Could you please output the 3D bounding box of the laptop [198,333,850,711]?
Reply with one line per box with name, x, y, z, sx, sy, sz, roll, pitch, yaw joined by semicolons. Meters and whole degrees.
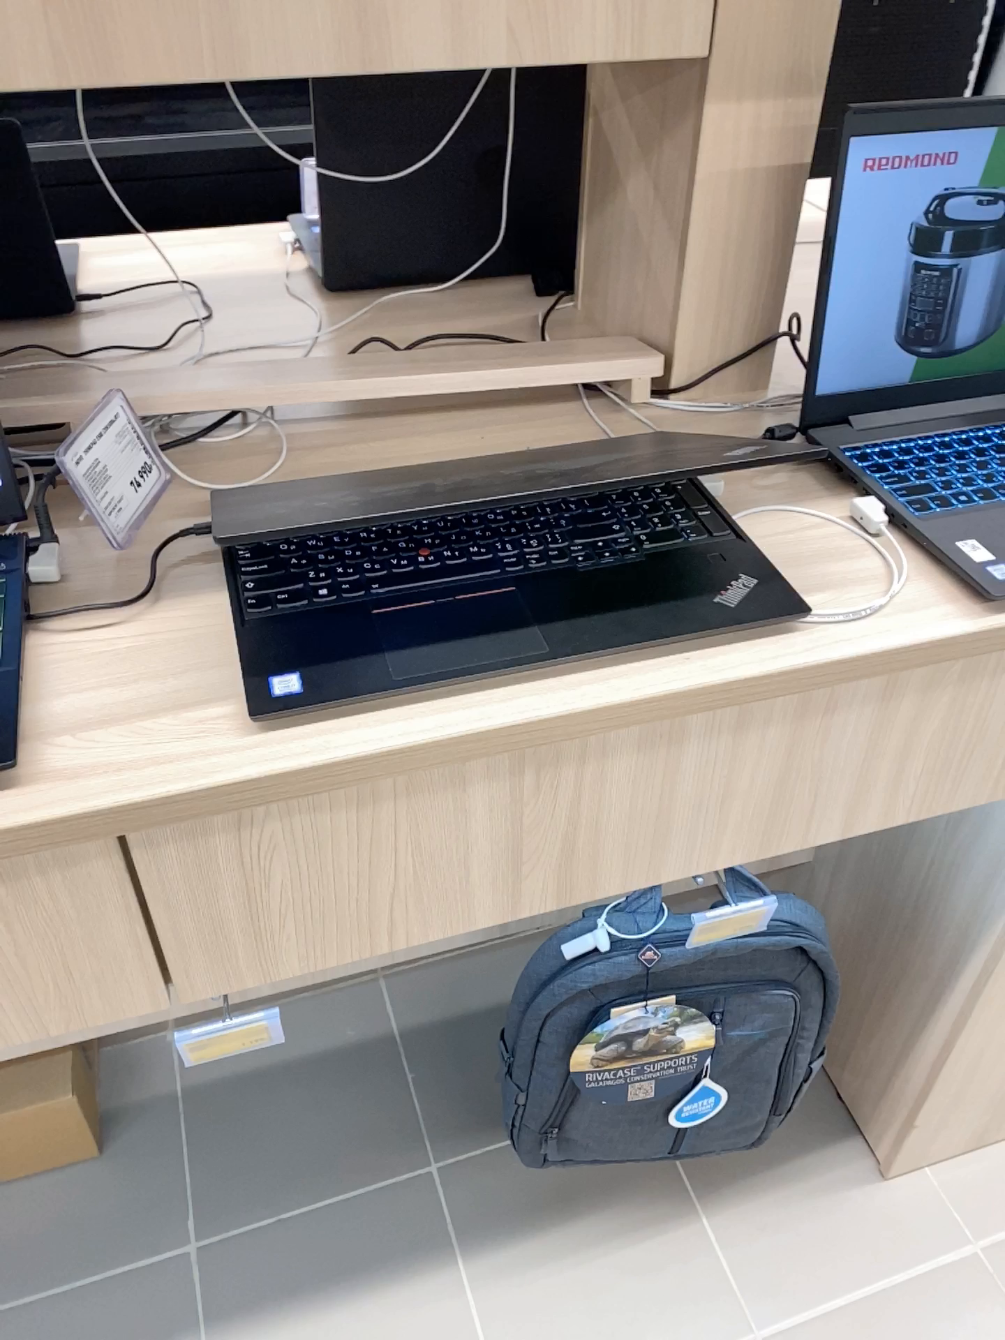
laptop;-0.003;-0.118;0.691;0.368;0.093;0.241;-10;41;-12
